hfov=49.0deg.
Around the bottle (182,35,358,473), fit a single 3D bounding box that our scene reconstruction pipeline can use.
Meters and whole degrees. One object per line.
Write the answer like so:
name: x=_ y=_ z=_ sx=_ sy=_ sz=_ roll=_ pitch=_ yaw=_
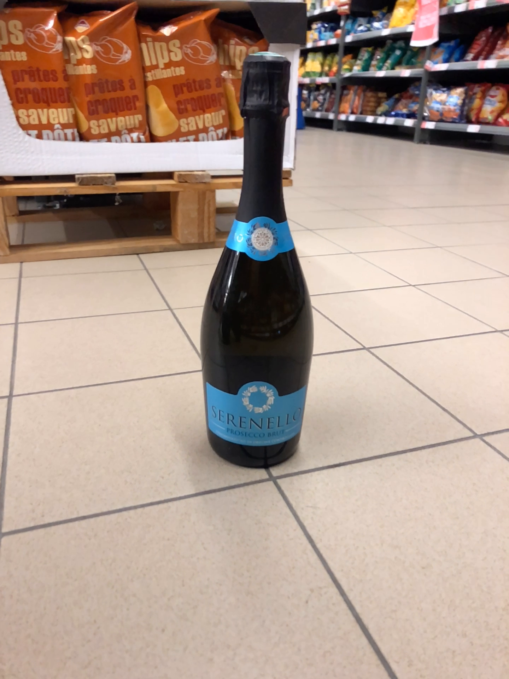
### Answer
bottle: x=0.005 y=-0.052 z=0.417 sx=0.100 sy=0.298 sz=0.090 roll=0 pitch=23 yaw=-3
